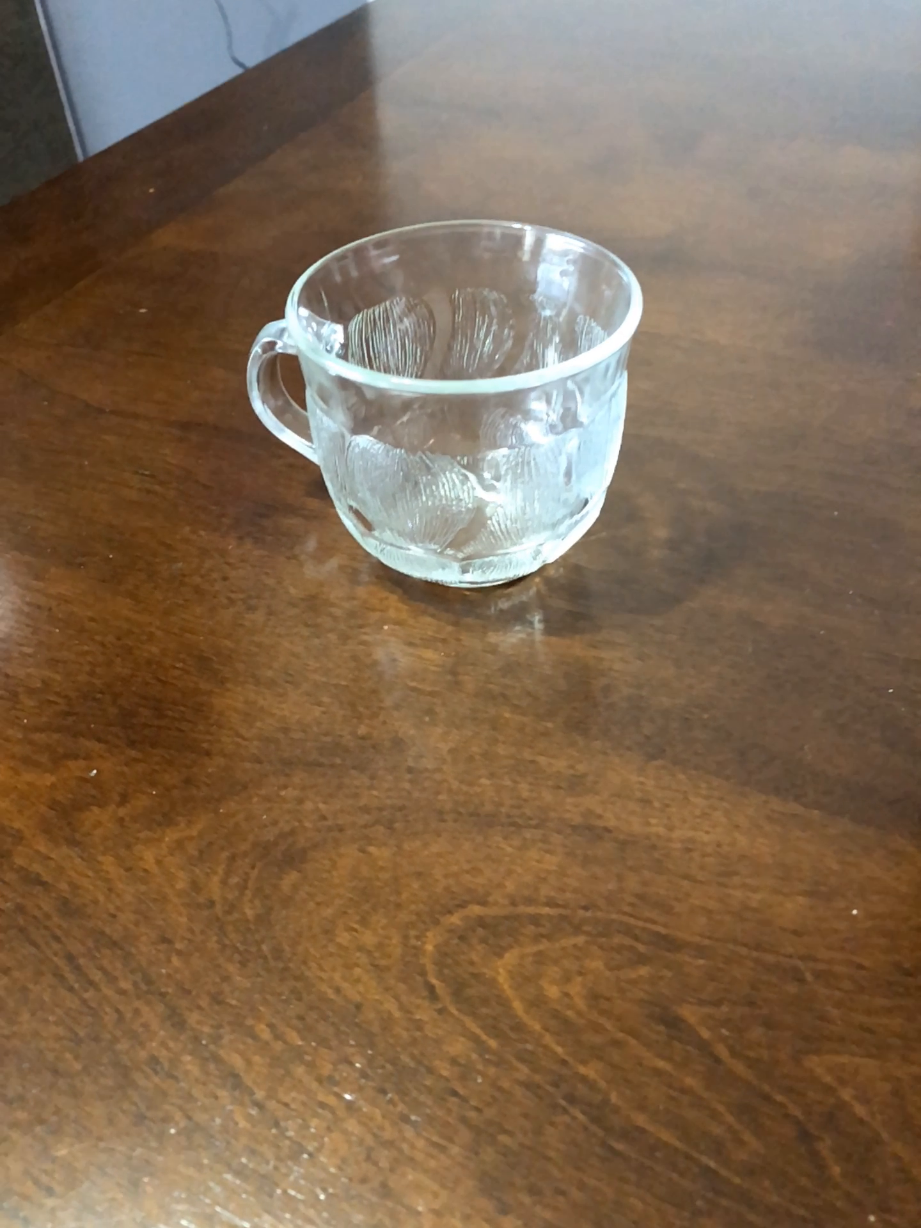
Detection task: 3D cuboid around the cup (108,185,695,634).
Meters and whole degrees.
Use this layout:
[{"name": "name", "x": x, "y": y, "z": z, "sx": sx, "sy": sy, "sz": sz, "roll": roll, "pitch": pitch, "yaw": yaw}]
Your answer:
[{"name": "cup", "x": -0.009, "y": -0.053, "z": 0.237, "sx": 0.100, "sy": 0.050, "sz": 0.080, "roll": 16, "pitch": 47, "yaw": 19}]
